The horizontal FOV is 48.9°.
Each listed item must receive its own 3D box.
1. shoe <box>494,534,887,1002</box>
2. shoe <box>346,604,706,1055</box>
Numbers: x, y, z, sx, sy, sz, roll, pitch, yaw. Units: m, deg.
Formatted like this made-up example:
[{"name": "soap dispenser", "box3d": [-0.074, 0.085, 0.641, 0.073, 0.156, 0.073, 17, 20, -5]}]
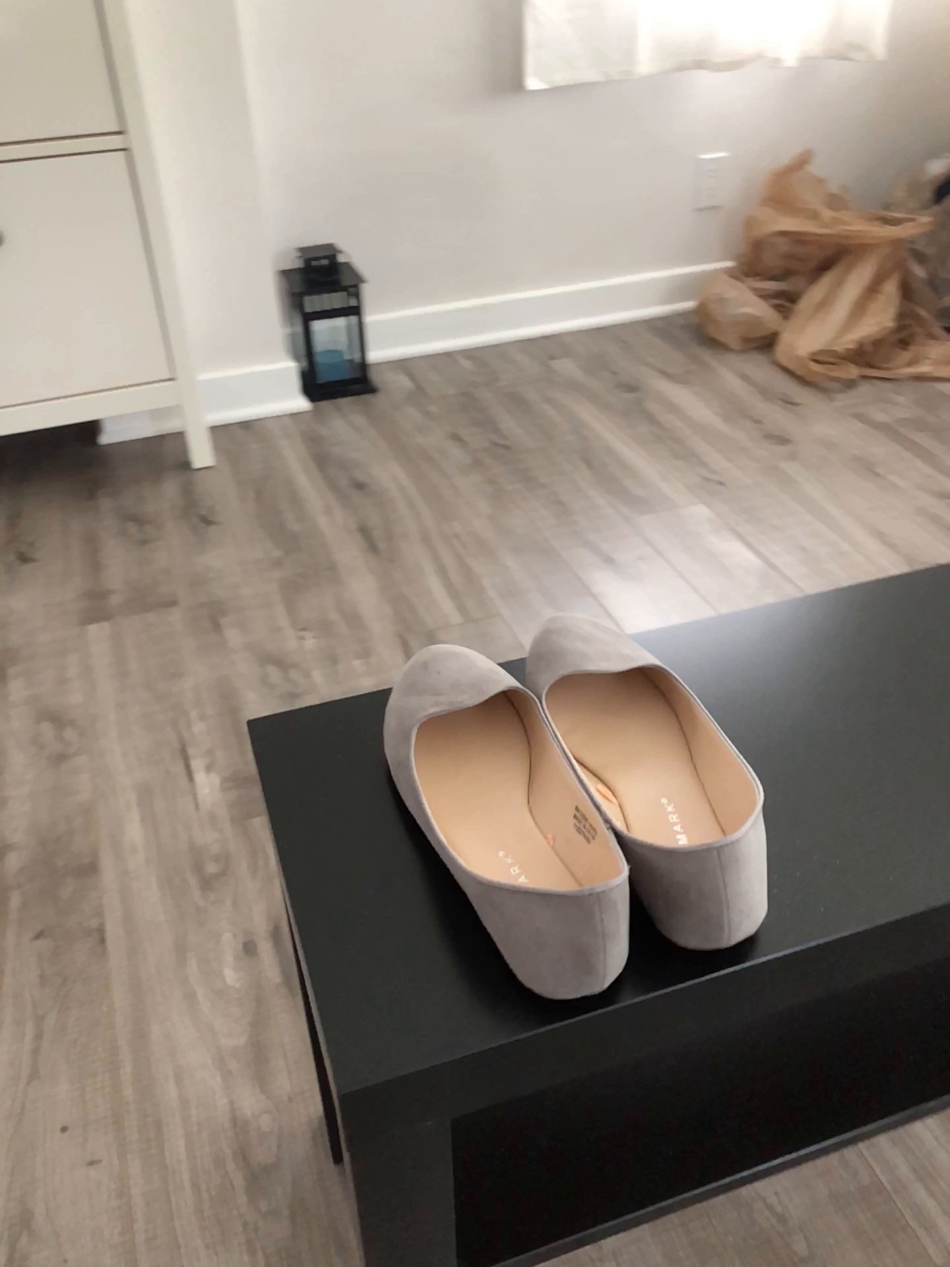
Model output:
[{"name": "shoe", "box3d": [0.096, 0.054, 0.569, 0.100, 0.090, 0.254, -11, 37, -13]}, {"name": "shoe", "box3d": [0.013, 0.085, 0.562, 0.100, 0.060, 0.251, -13, 38, -15]}]
